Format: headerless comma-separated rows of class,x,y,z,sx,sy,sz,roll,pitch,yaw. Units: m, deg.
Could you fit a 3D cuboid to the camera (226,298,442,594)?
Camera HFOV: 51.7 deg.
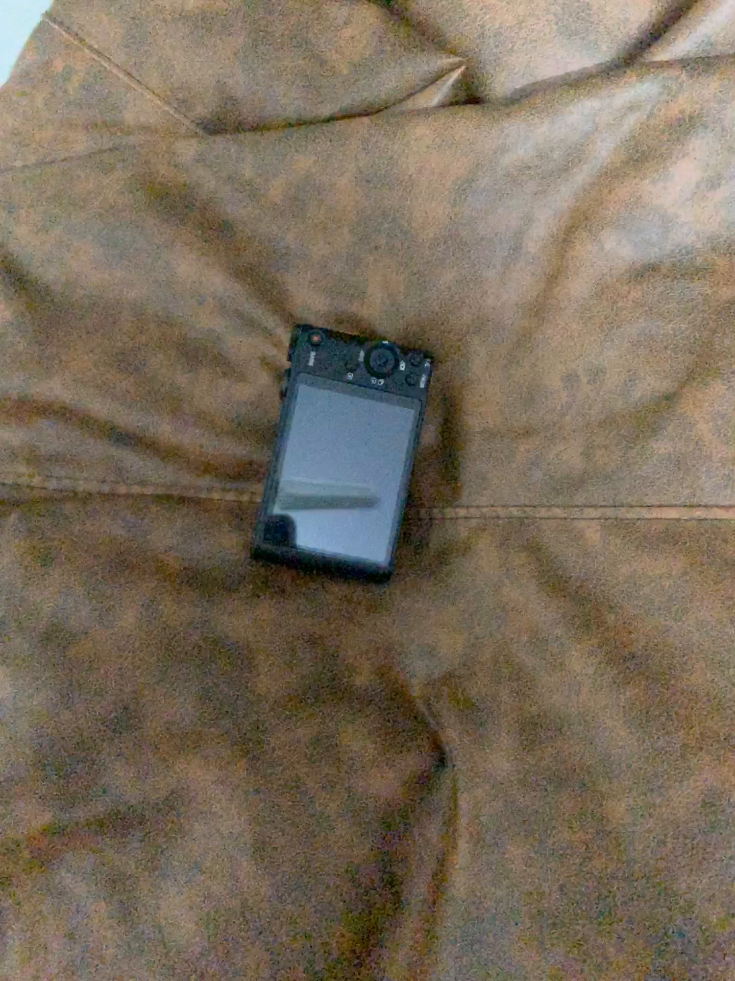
camera,-0.011,-0.016,0.289,0.060,0.024,0.100,11,84,3
